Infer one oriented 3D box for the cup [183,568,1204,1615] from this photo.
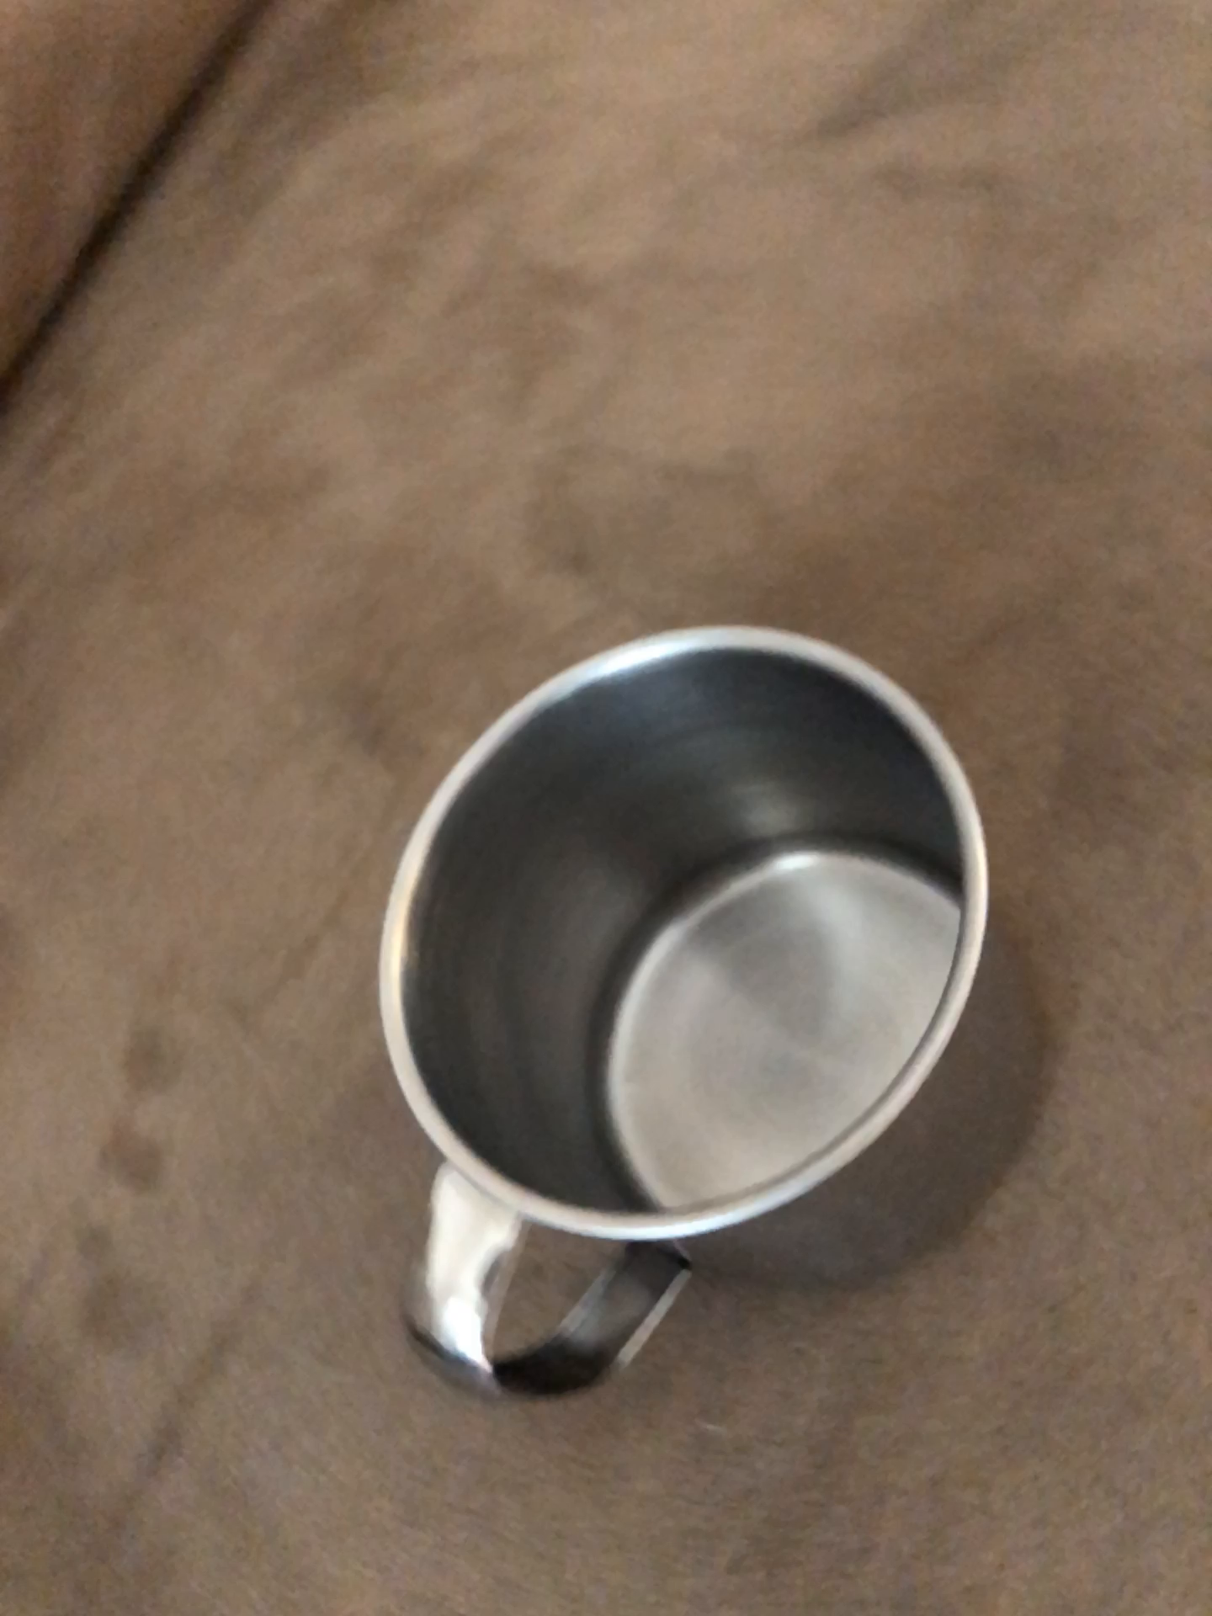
[{"bbox_3d":[0.018,0.038,0.198,0.090,0.070,0.110,18,74,34],"label":"cup"}]
